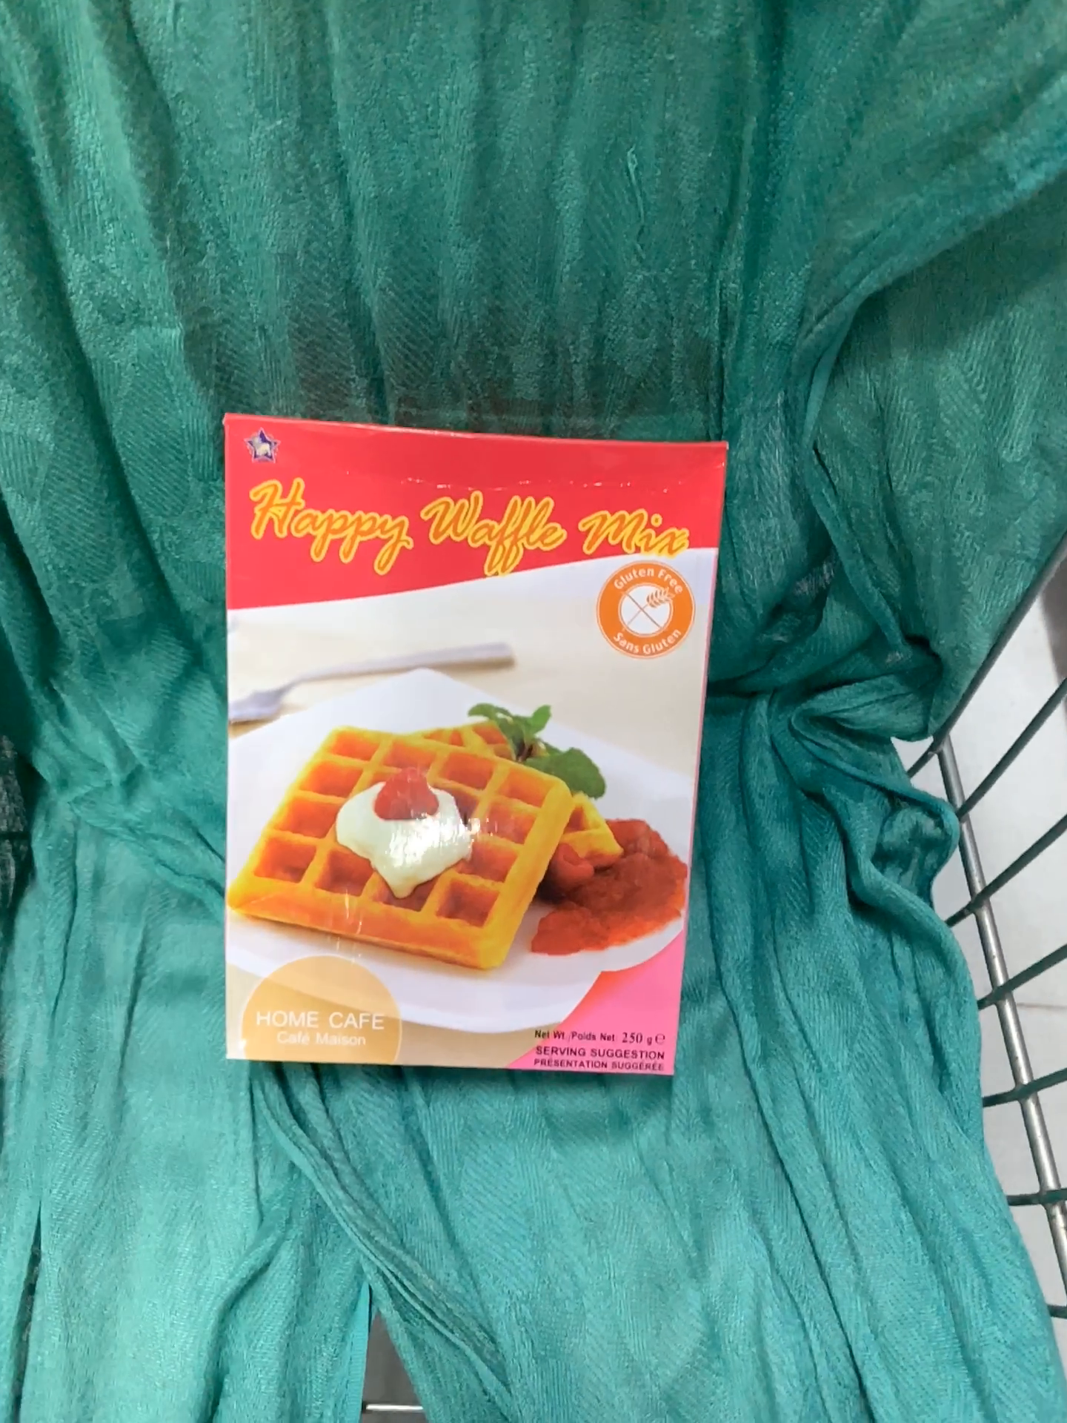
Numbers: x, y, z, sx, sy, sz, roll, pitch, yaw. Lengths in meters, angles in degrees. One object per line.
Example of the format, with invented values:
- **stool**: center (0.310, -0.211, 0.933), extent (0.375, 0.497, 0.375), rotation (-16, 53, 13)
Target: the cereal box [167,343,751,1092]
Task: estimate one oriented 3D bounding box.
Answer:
- **cereal box**: center (-0.021, 0.003, 0.290), extent (0.130, 0.180, 0.050), rotation (3, 14, -1)
